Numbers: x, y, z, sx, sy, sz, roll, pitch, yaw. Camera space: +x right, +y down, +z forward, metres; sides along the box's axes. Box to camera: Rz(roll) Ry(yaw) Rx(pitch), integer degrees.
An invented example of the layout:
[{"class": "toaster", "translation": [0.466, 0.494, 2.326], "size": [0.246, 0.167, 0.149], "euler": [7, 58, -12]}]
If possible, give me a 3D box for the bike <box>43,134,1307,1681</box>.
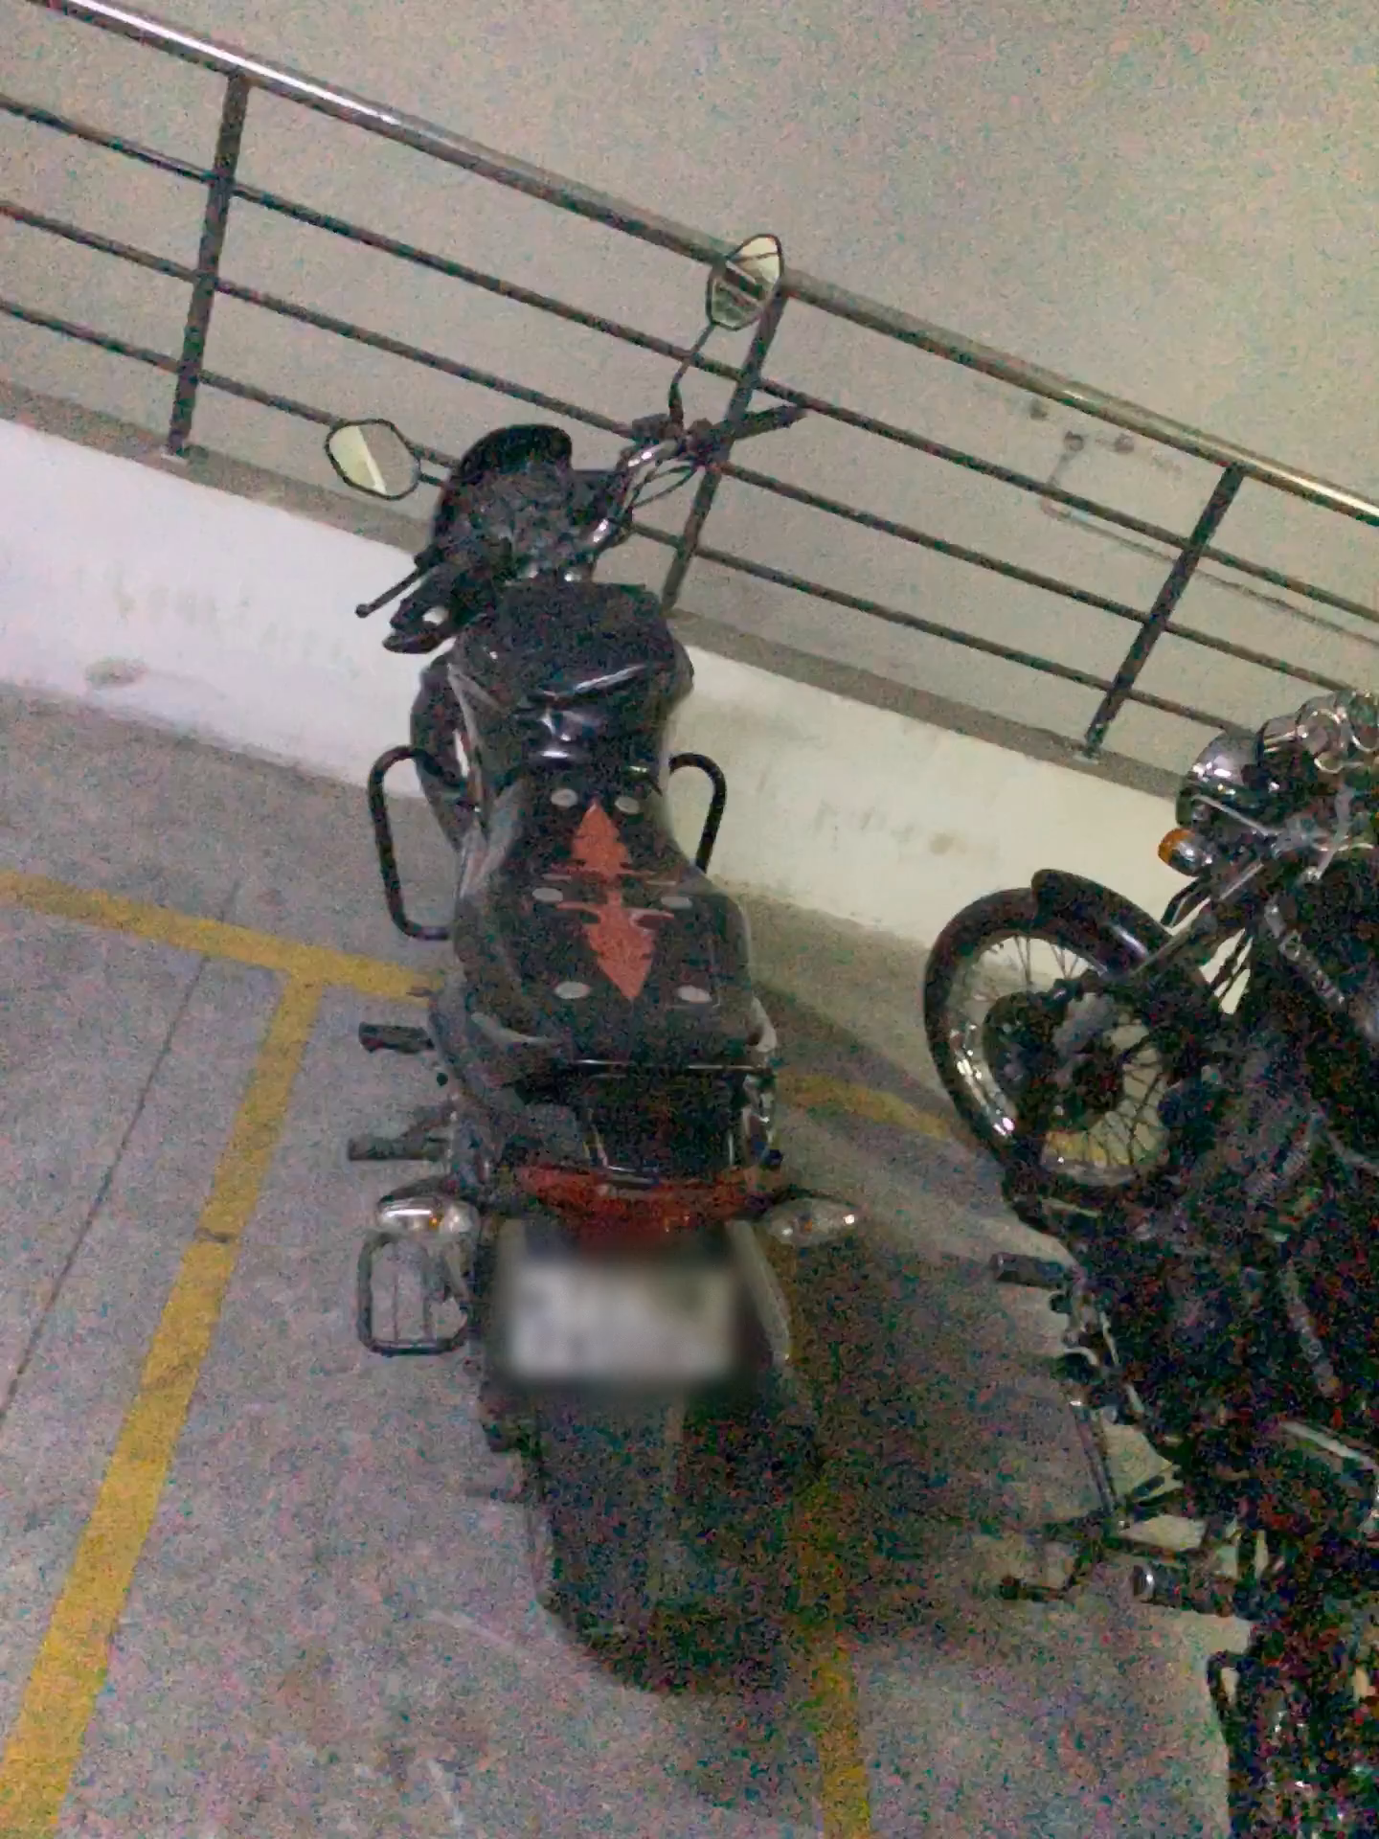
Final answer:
[{"class": "bike", "translation": [-0.287, -0.165, 1.829], "size": [0.756, 1.067, 1.681], "euler": [9, 32, -24]}]
